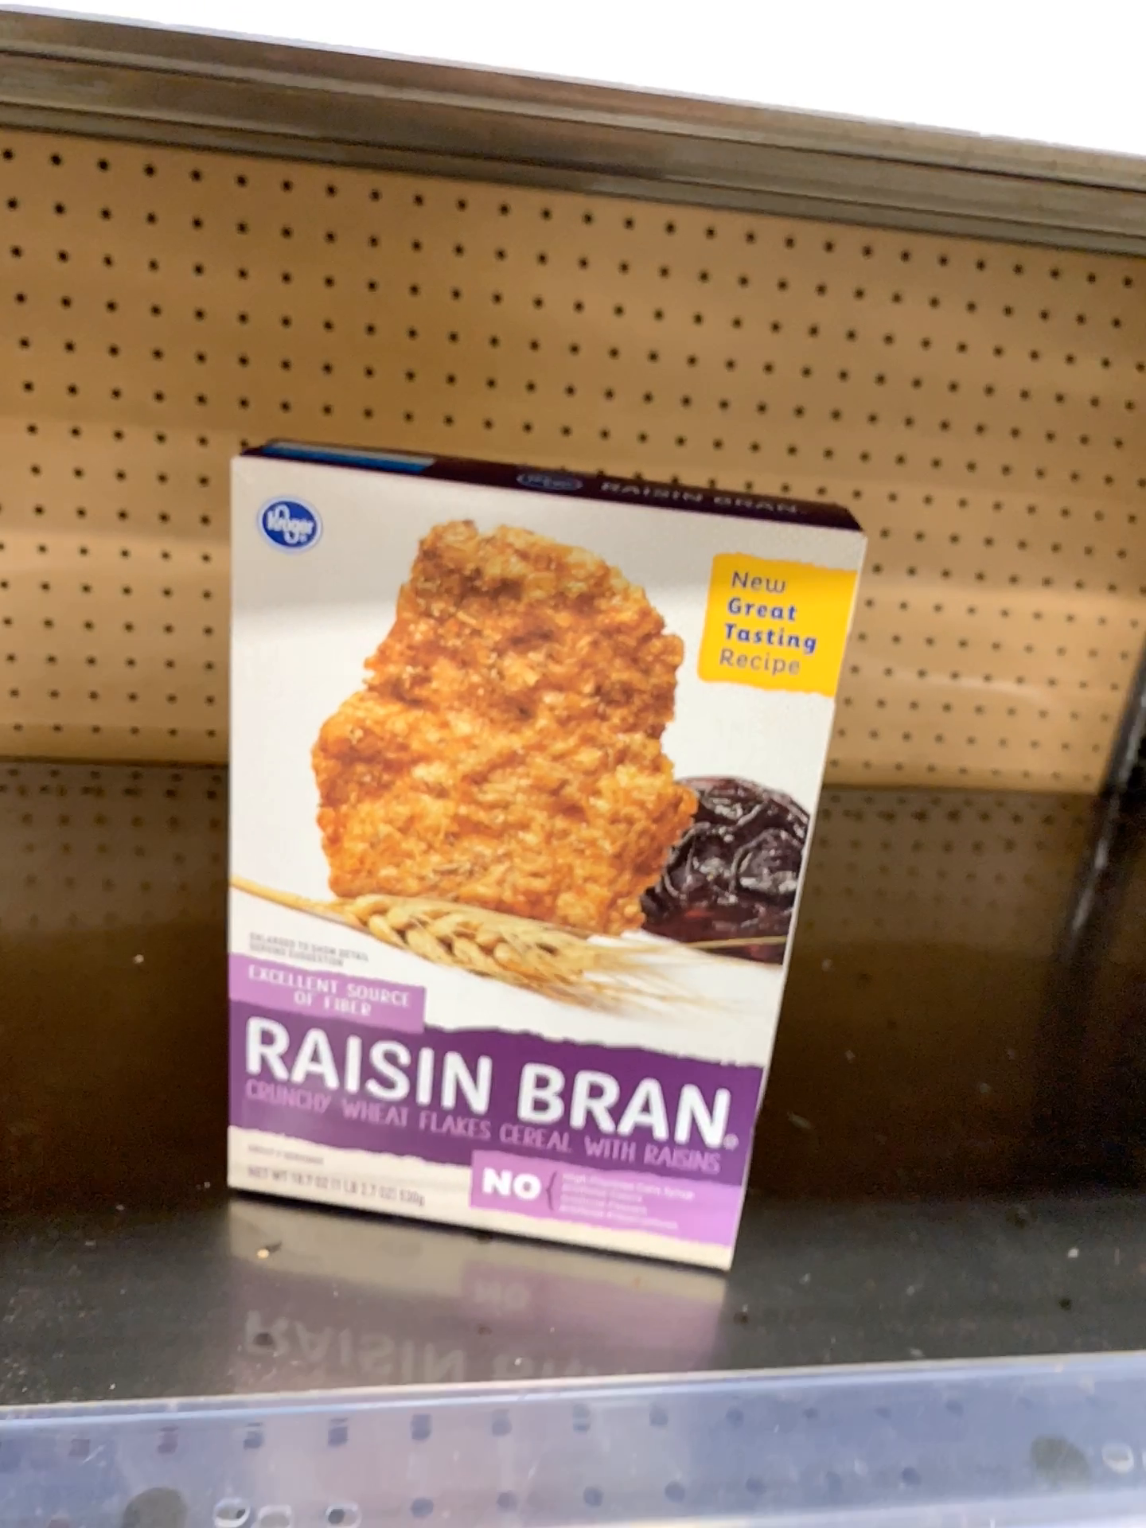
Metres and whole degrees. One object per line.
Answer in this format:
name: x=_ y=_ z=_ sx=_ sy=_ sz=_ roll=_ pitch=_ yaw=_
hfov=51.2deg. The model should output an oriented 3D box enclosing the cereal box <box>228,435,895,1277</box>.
cereal box: x=-0.016 y=0.039 z=0.411 sx=0.190 sy=0.269 sz=0.050 roll=7 pitch=21 yaw=2
